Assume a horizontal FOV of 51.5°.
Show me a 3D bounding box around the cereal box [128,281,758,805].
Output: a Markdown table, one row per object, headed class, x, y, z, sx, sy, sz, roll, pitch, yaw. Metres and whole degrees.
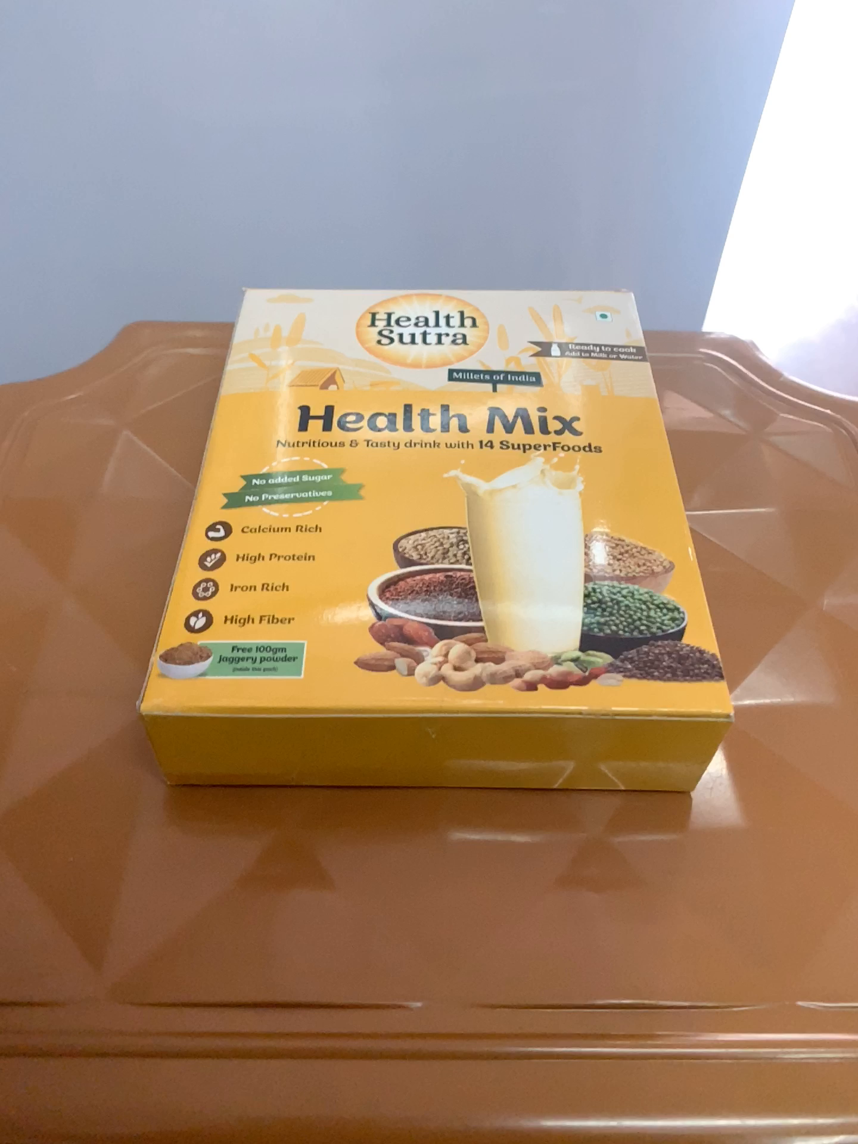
| class | x | y | z | sx | sy | sz | roll | pitch | yaw |
| --- | --- | --- | --- | --- | --- | --- | --- | --- | --- |
| cereal box | 0.002 | -0.018 | 0.251 | 0.130 | 0.040 | 0.160 | 1 | 49 | -2 |
